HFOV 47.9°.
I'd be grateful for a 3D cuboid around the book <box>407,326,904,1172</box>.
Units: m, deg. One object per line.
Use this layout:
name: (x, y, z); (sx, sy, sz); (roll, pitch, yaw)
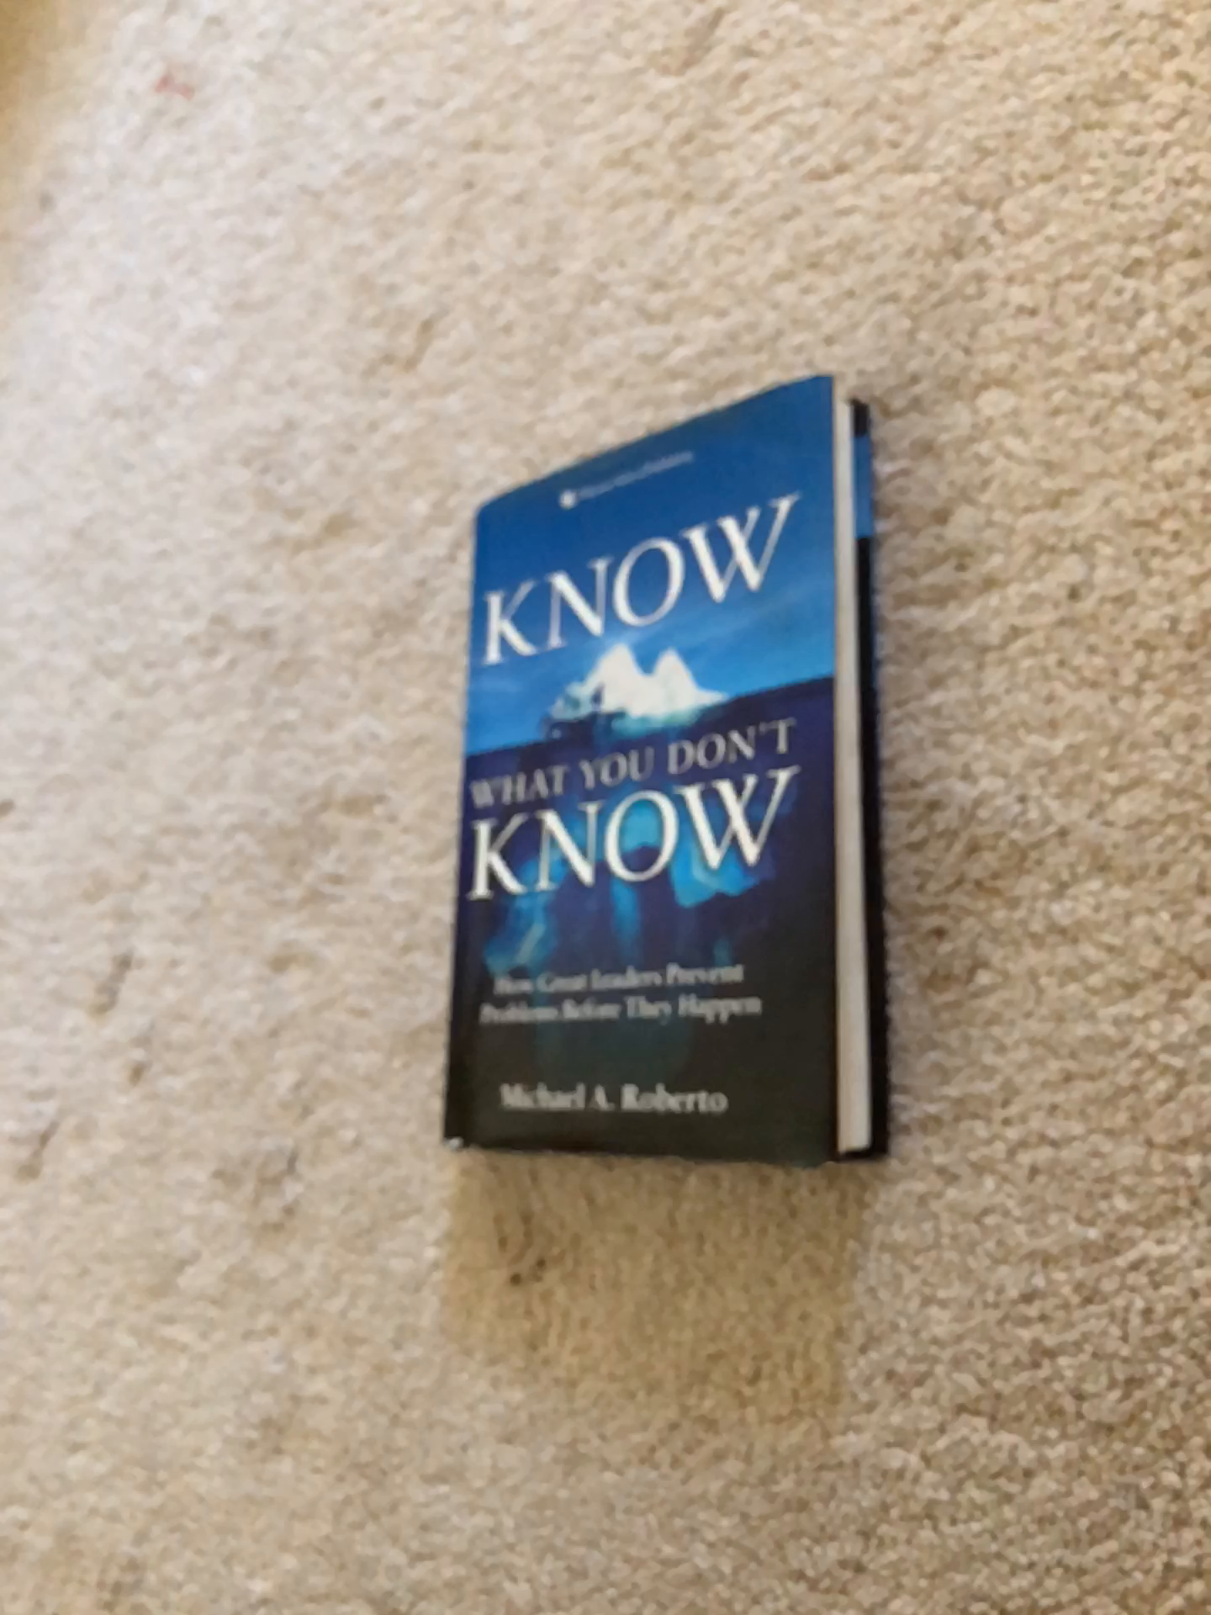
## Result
book: (0.011, -0.011, 0.434); (0.161, 0.034, 0.239); (-10, 73, 39)
